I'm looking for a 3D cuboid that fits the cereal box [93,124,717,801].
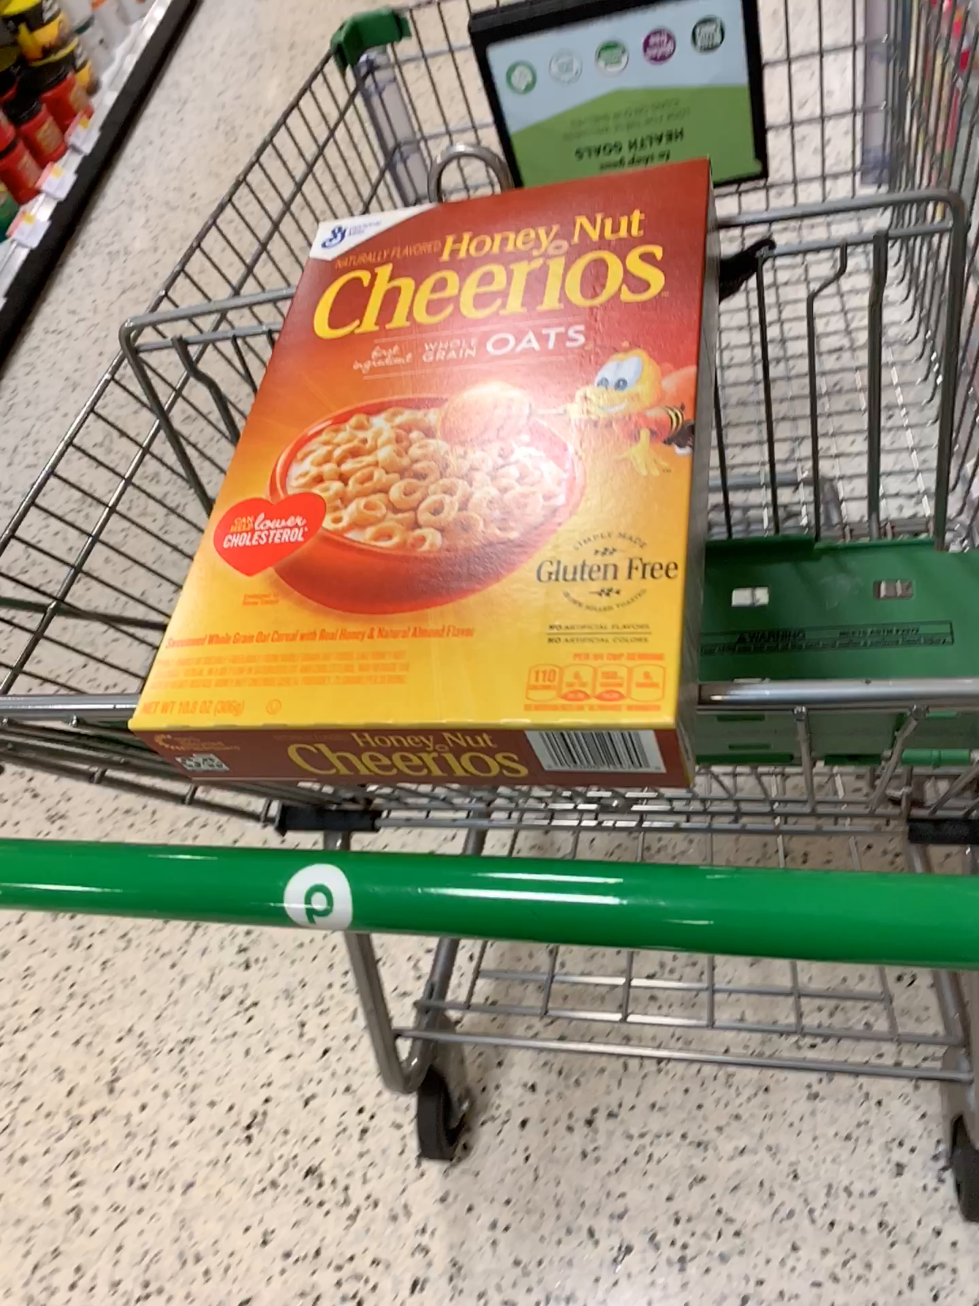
[{"bbox_3d":[-0.014,-0.088,0.418,0.200,0.059,0.292,-2,58,18],"label":"cereal box"}]
